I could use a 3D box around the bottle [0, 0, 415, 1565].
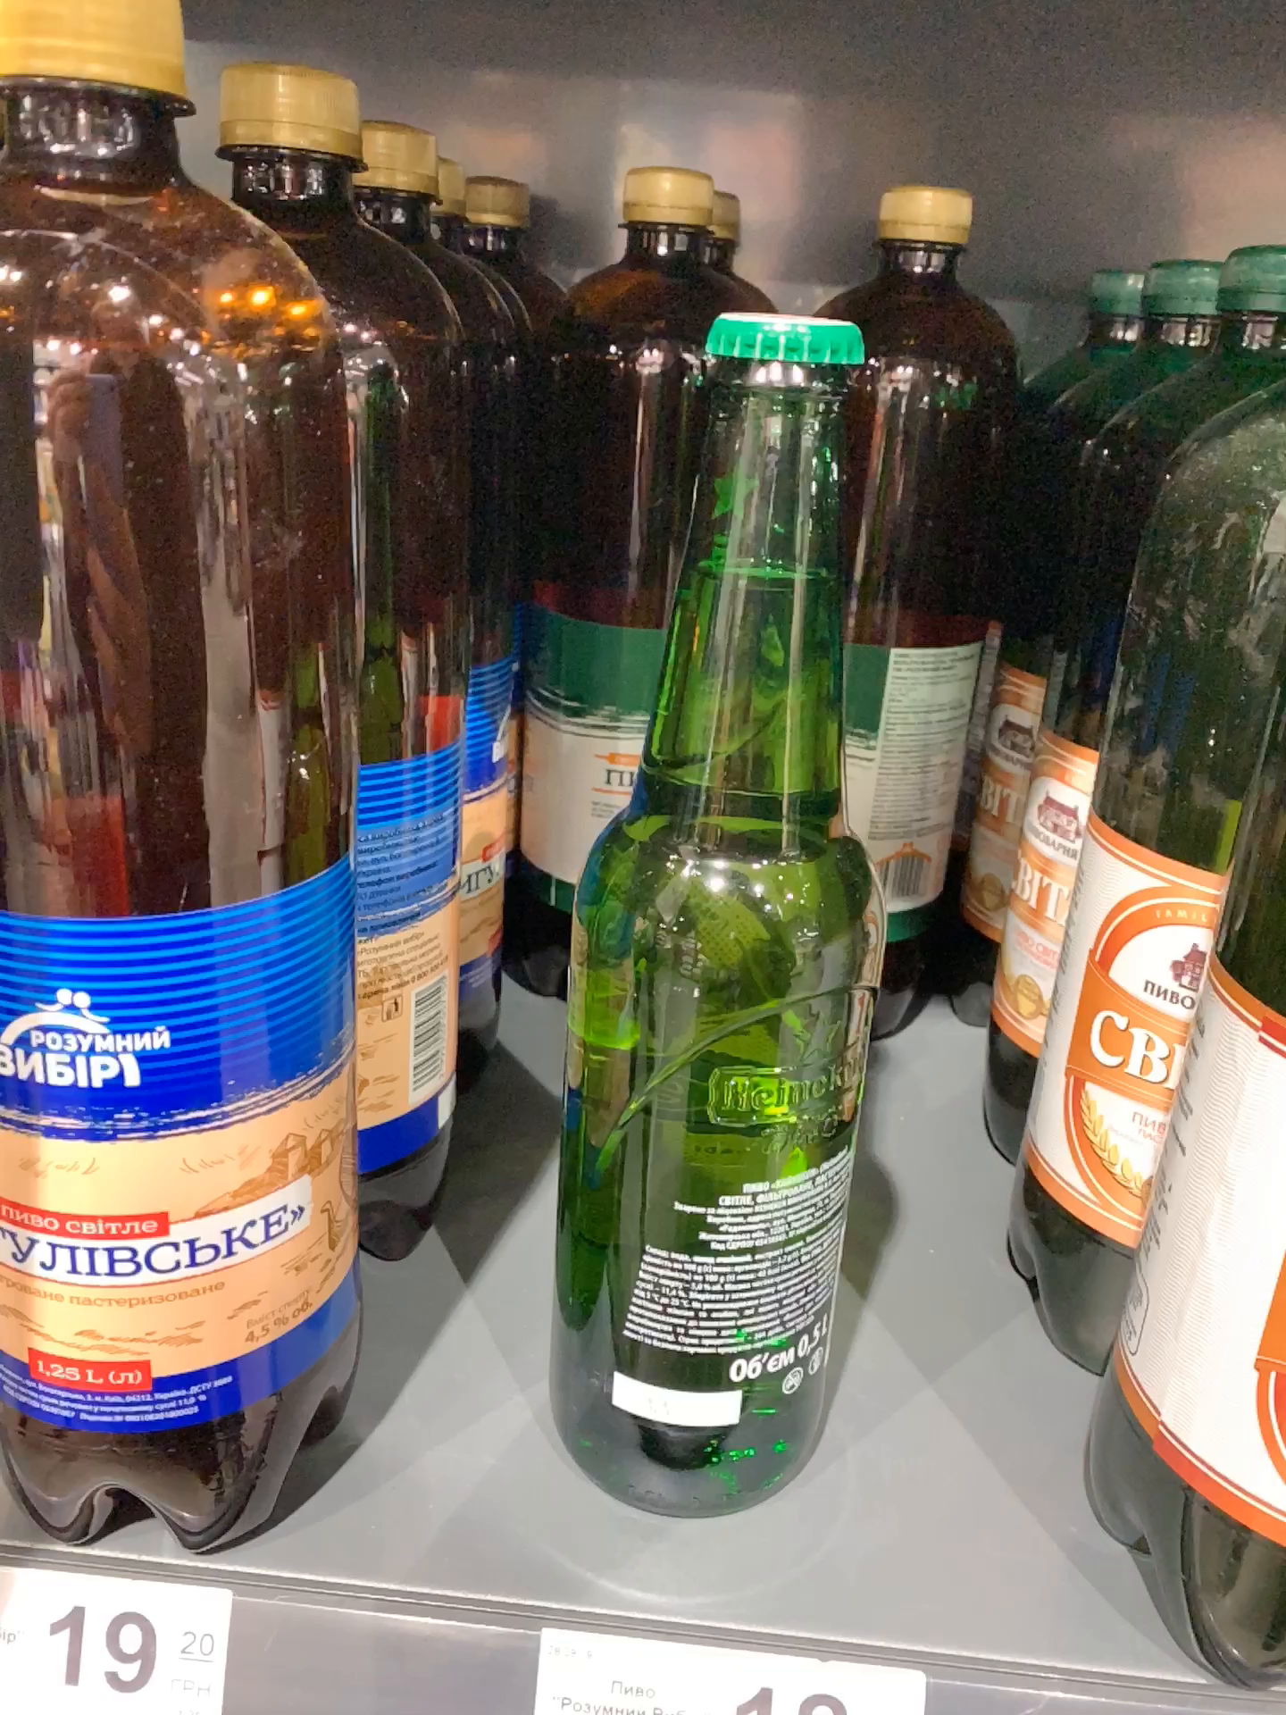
[{"bbox_3d":[-0.089,-0.006,0.250,0.080,0.288,0.074,3,22,-1],"label":"bottle"}]

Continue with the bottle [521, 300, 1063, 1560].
[{"bbox_3d":[0.020,0.020,0.279,0.067,0.248,0.062,3,22,-1],"label":"bottle"}]
